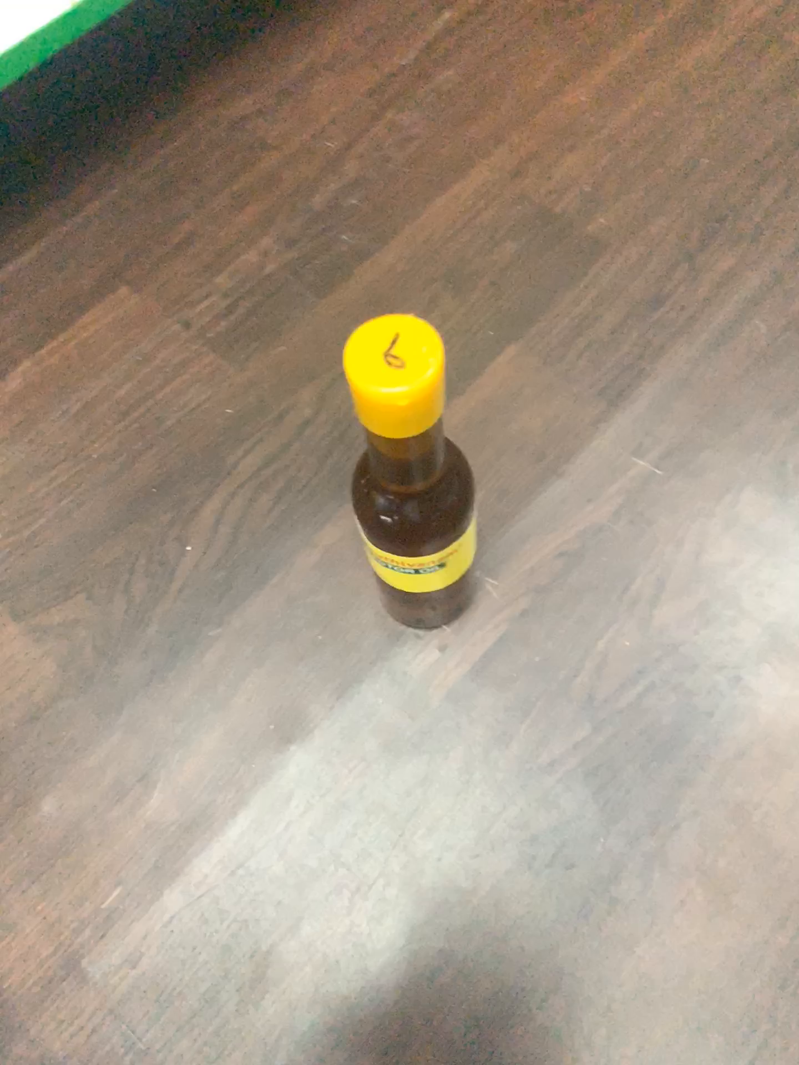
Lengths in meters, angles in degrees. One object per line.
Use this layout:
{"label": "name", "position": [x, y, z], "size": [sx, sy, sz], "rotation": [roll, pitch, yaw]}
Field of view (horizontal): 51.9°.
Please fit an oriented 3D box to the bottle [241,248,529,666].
{"label": "bottle", "position": [0.003, -0.013, 0.301], "size": [0.060, 0.170, 0.060], "rotation": [-2, 65, 4]}
